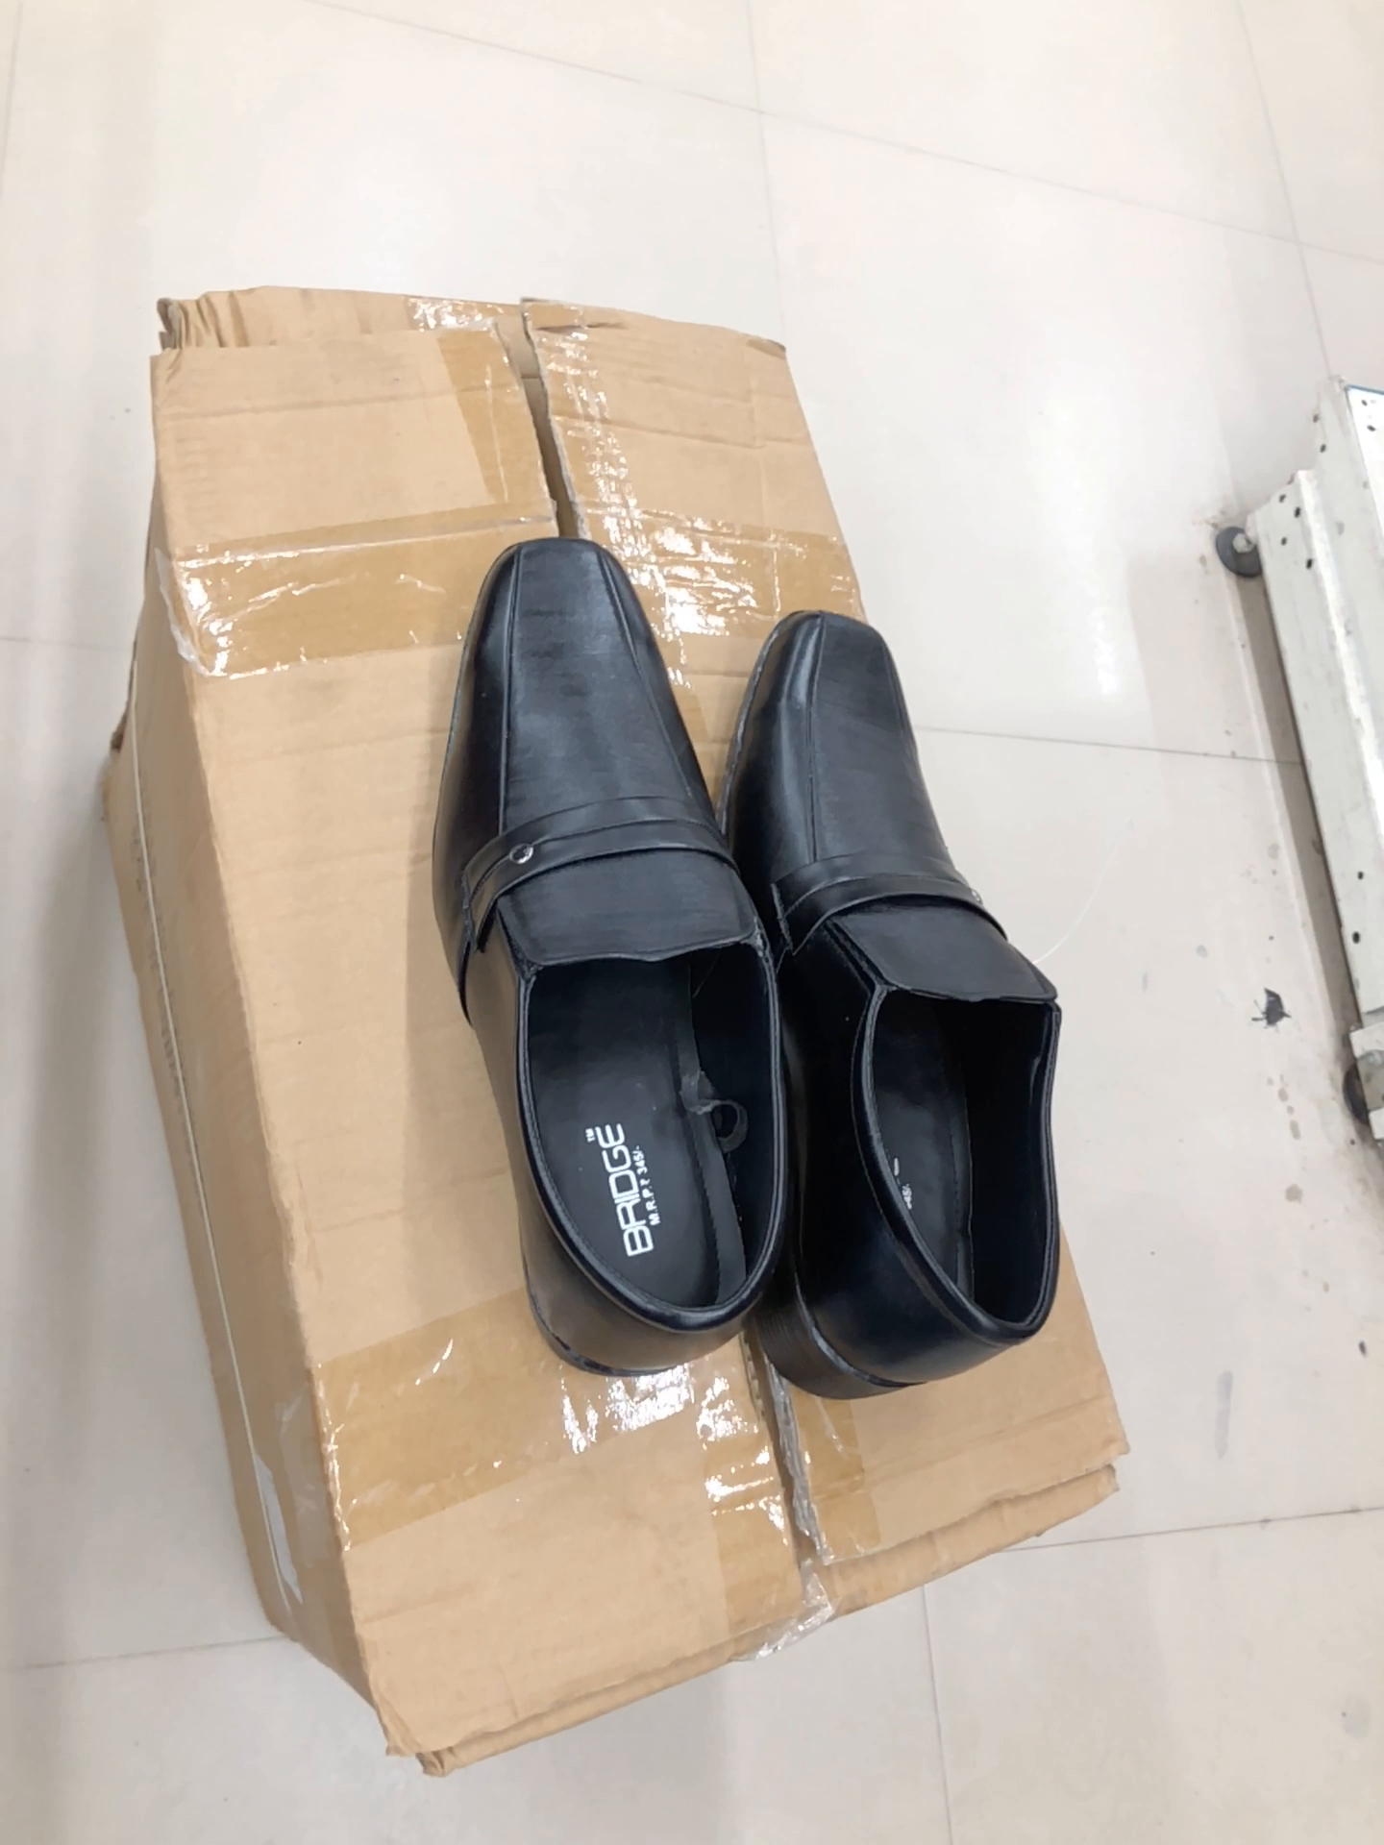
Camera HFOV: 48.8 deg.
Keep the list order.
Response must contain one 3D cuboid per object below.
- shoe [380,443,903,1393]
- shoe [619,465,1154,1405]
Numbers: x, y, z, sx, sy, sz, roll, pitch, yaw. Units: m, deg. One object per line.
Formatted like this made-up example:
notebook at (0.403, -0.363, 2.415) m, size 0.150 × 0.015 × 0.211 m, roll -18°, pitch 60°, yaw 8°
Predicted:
shoe at (-0.031, 0.000, 0.526) m, size 0.100 × 0.129 × 0.290 m, roll -4°, pitch 72°, yaw -22°
shoe at (0.060, 0.010, 0.567) m, size 0.100 × 0.129 × 0.311 m, roll 7°, pitch 68°, yaw -32°
